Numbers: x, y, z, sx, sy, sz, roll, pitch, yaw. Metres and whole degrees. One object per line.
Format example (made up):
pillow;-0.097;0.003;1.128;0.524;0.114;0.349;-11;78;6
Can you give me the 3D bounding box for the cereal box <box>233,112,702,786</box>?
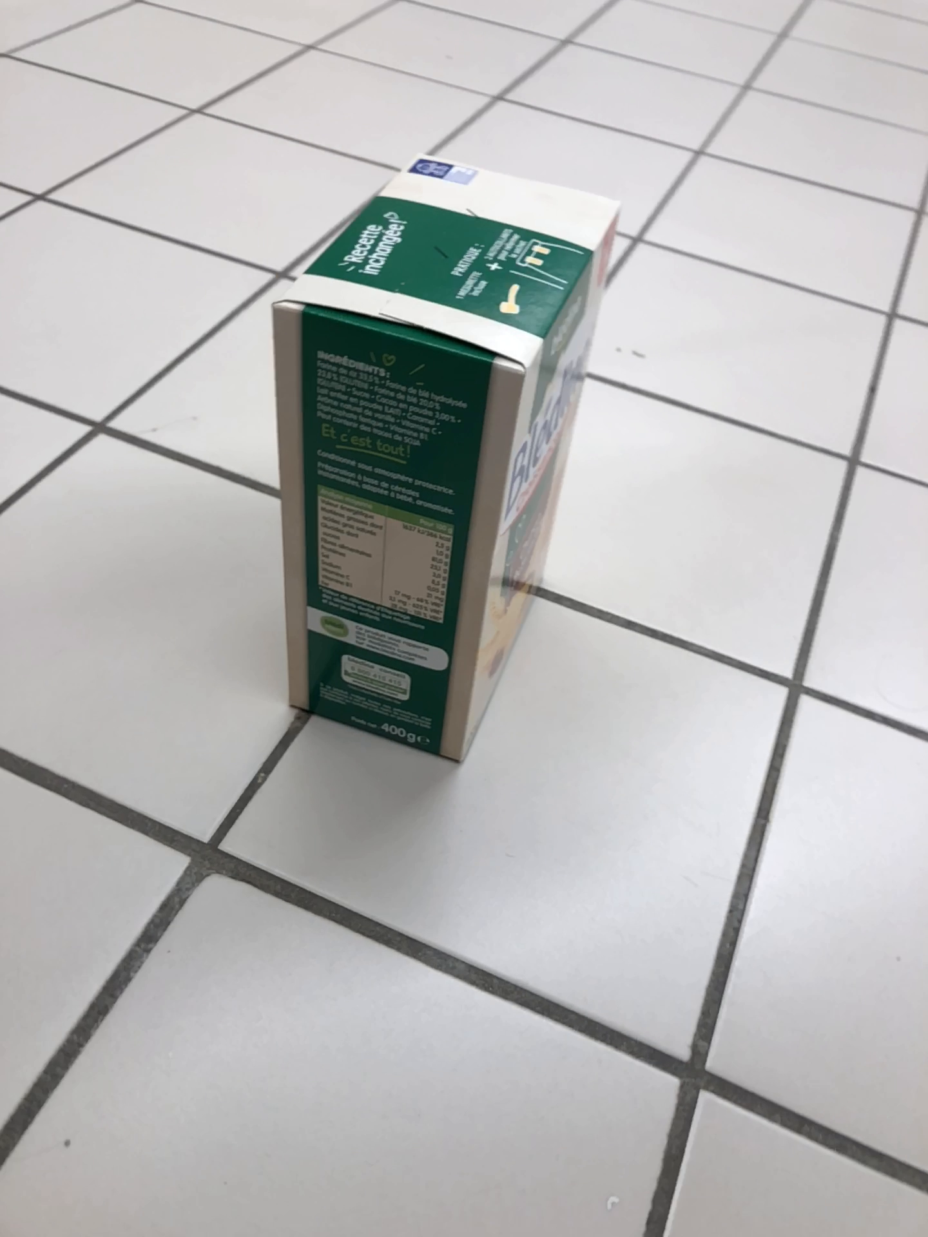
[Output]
cereal box;0.001;-0.066;0.419;0.120;0.199;0.151;17;45;8
